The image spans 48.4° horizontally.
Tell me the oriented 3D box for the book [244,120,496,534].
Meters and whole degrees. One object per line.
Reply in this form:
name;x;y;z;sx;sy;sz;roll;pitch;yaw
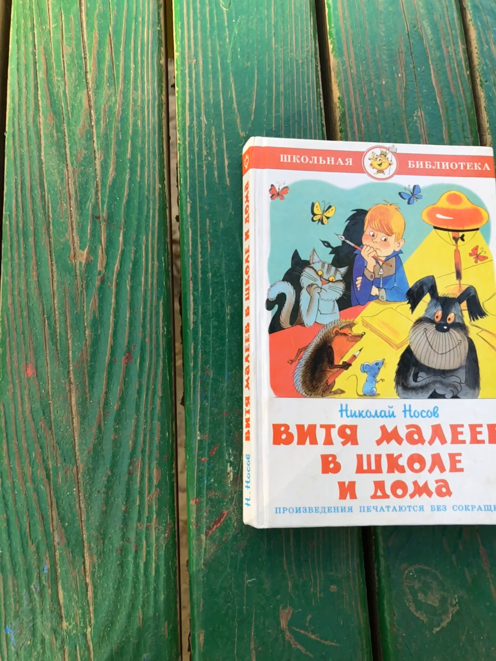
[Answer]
book;0.071;-0.007;0.291;0.145;0.020;0.212;1;78;-5
